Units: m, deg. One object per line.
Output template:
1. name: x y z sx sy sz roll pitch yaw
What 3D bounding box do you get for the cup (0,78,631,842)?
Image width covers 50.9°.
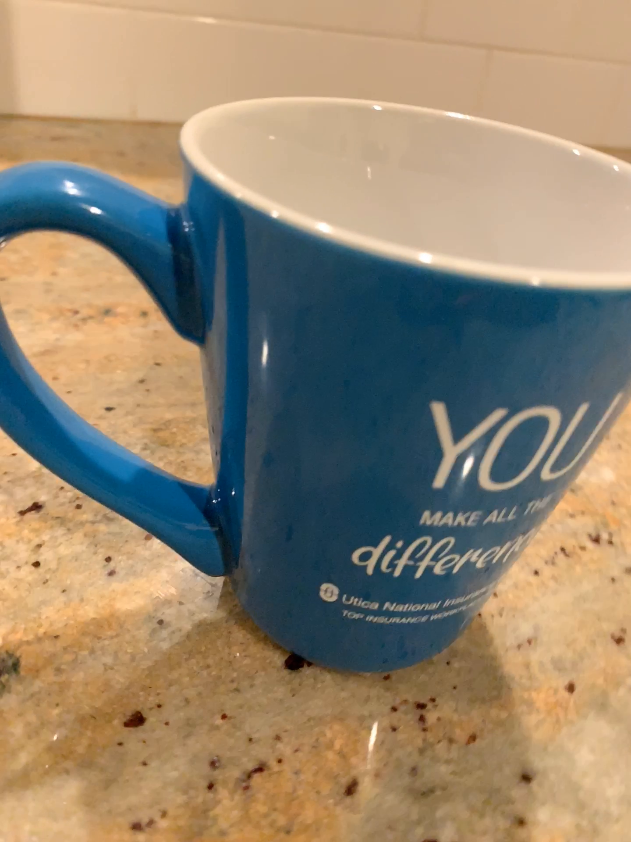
1. cup: 0.002 -0.005 0.140 0.138 0.098 0.099 -9 40 -22
